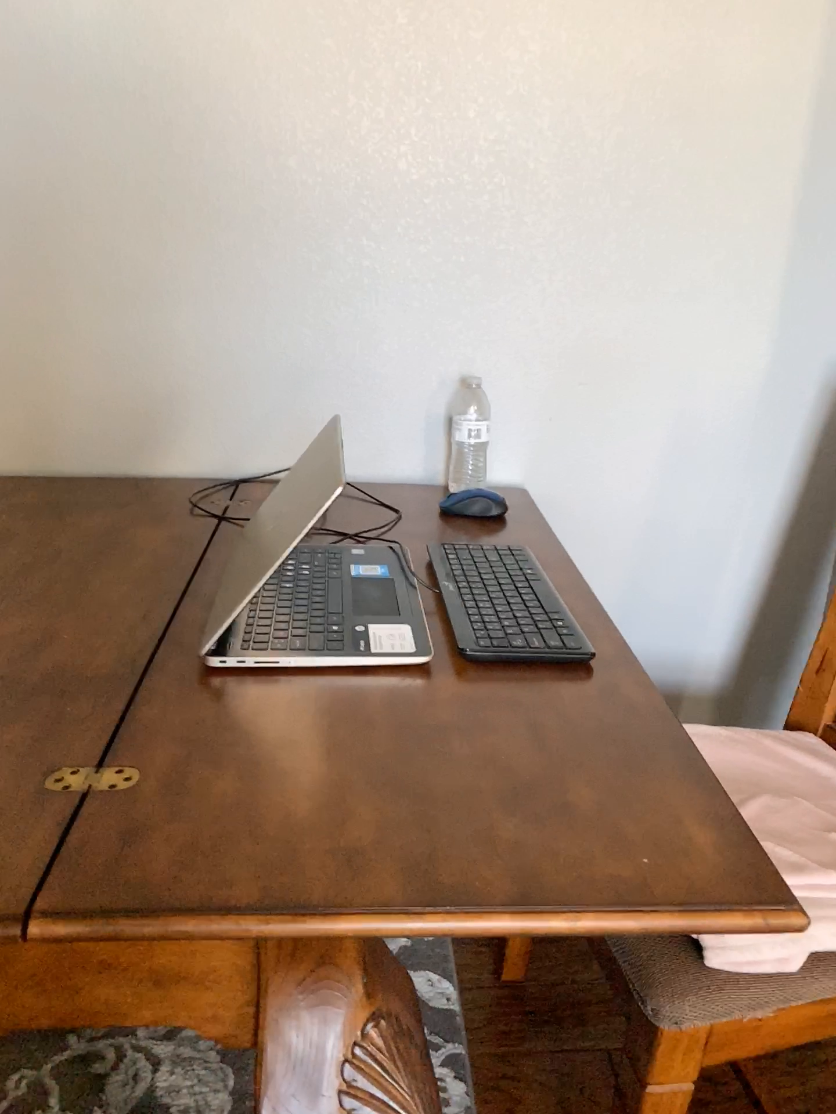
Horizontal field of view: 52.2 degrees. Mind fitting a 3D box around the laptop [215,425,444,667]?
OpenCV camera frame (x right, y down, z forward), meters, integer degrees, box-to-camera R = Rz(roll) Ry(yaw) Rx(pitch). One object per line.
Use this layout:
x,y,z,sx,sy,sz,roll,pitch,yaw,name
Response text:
-0.094,-0.027,0.910,0.198,0.157,0.304,2,19,-7,laptop
